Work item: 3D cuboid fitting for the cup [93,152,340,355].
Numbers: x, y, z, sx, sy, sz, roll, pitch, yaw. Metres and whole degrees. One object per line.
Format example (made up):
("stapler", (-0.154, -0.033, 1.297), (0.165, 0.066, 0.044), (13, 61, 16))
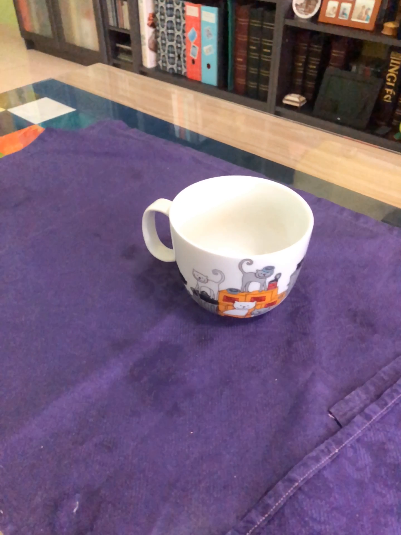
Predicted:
("cup", (0.012, -0.018, 0.321), (0.140, 0.070, 0.090), (19, 45, 22))
